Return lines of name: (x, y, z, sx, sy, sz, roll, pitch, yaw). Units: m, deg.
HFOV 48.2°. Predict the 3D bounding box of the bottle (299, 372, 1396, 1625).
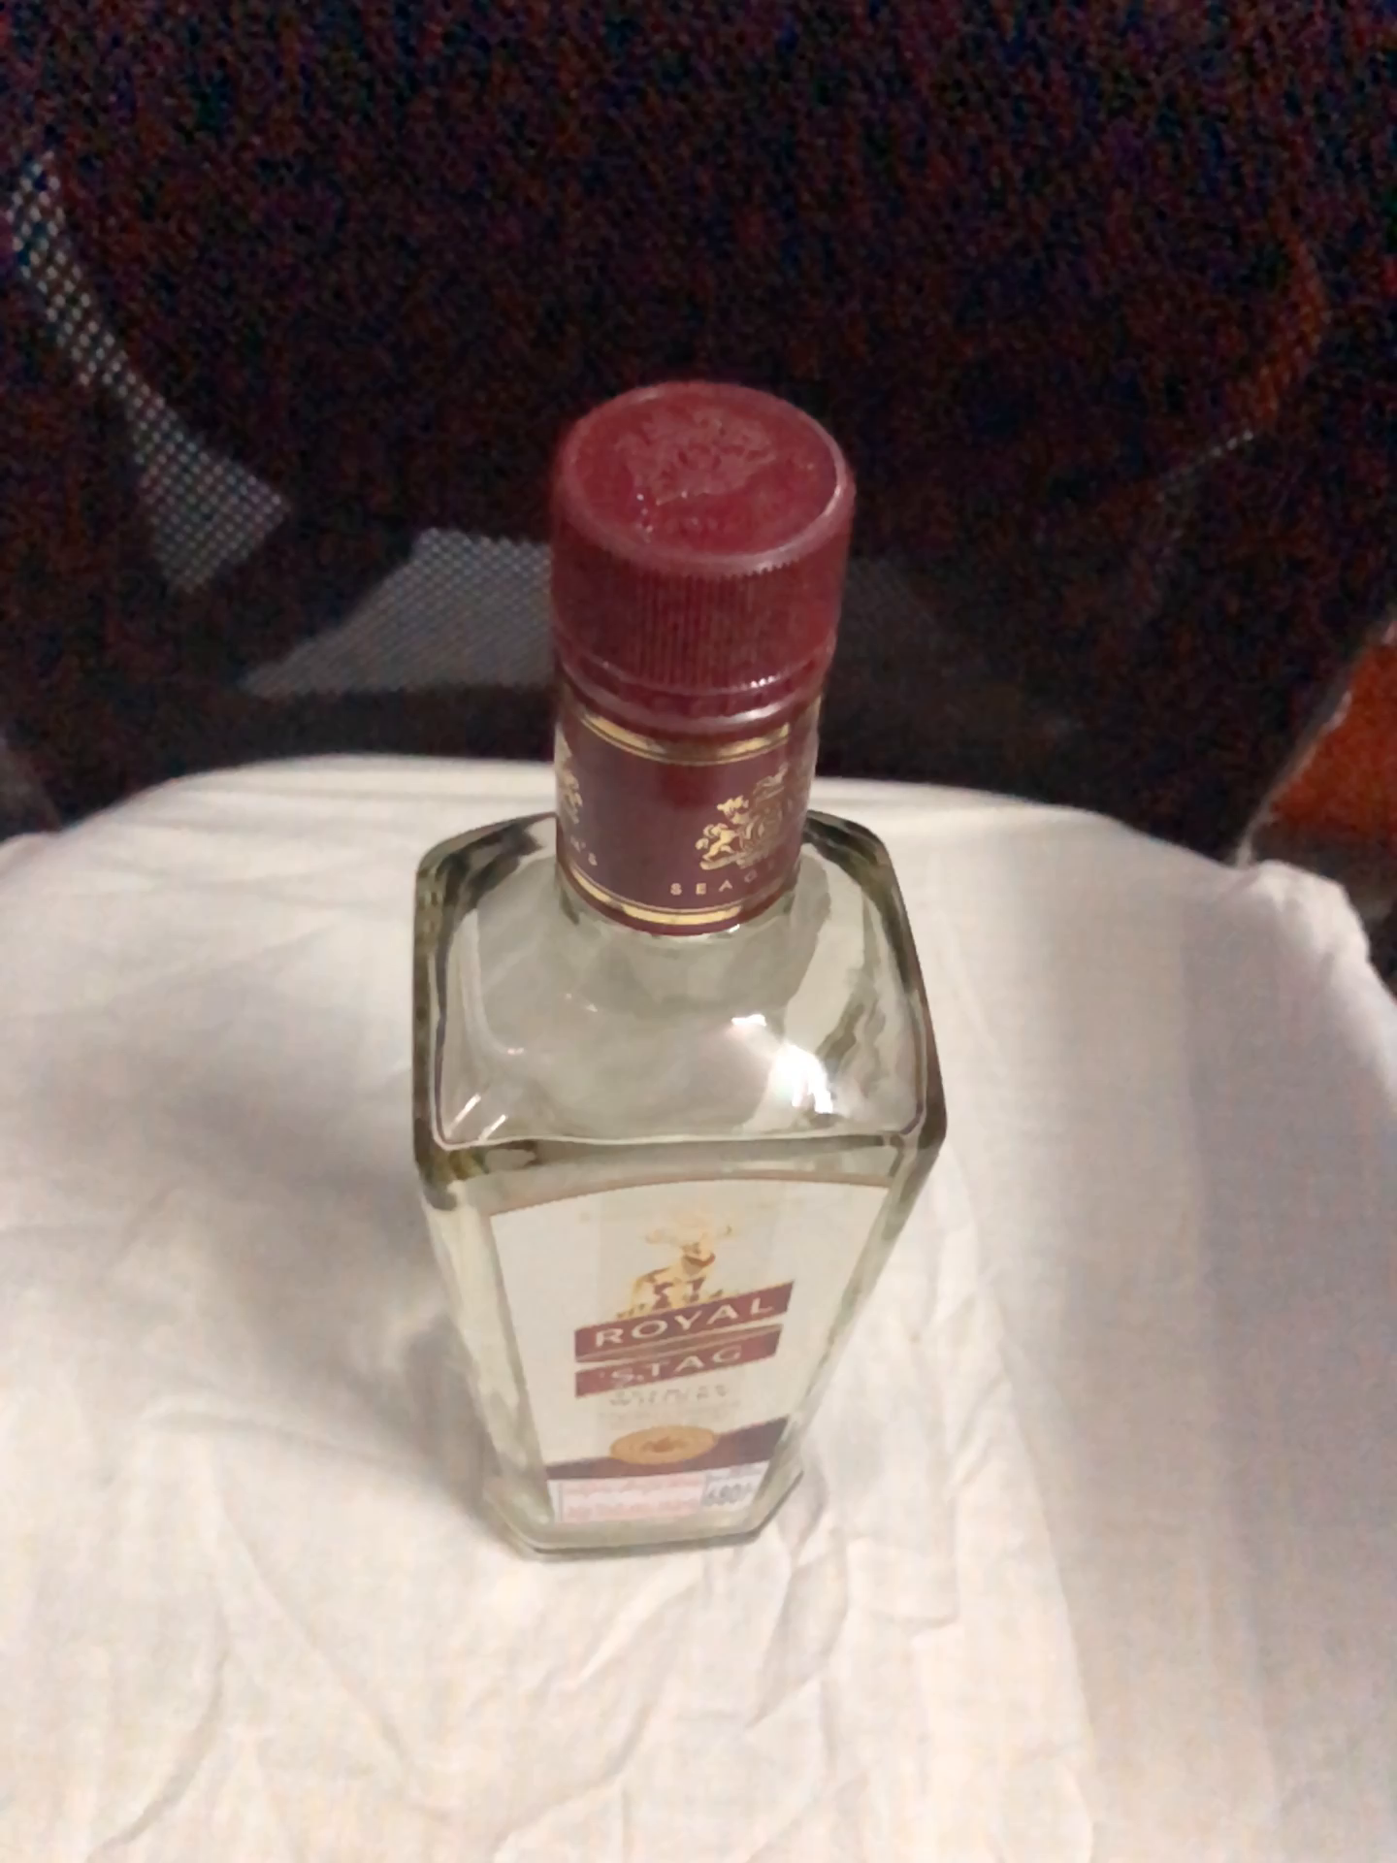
bottle: (-0.001, 0.049, 0.256, 0.090, 0.279, 0.060, -1, 55, -7)
